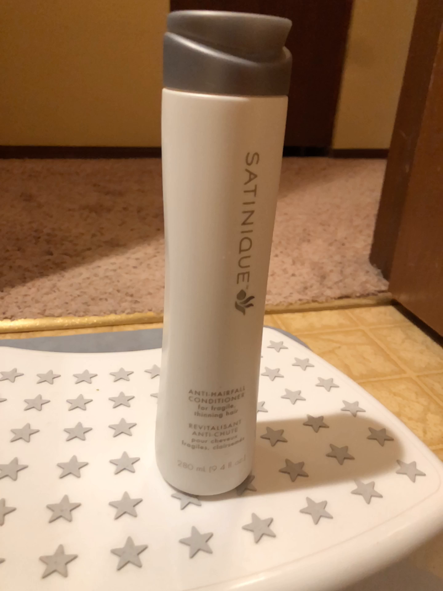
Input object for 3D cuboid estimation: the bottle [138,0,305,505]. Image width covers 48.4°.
[{"bbox_3d":[-0.007,-0.007,0.214,0.050,0.209,0.050,2,25,-1],"label":"bottle"}]
